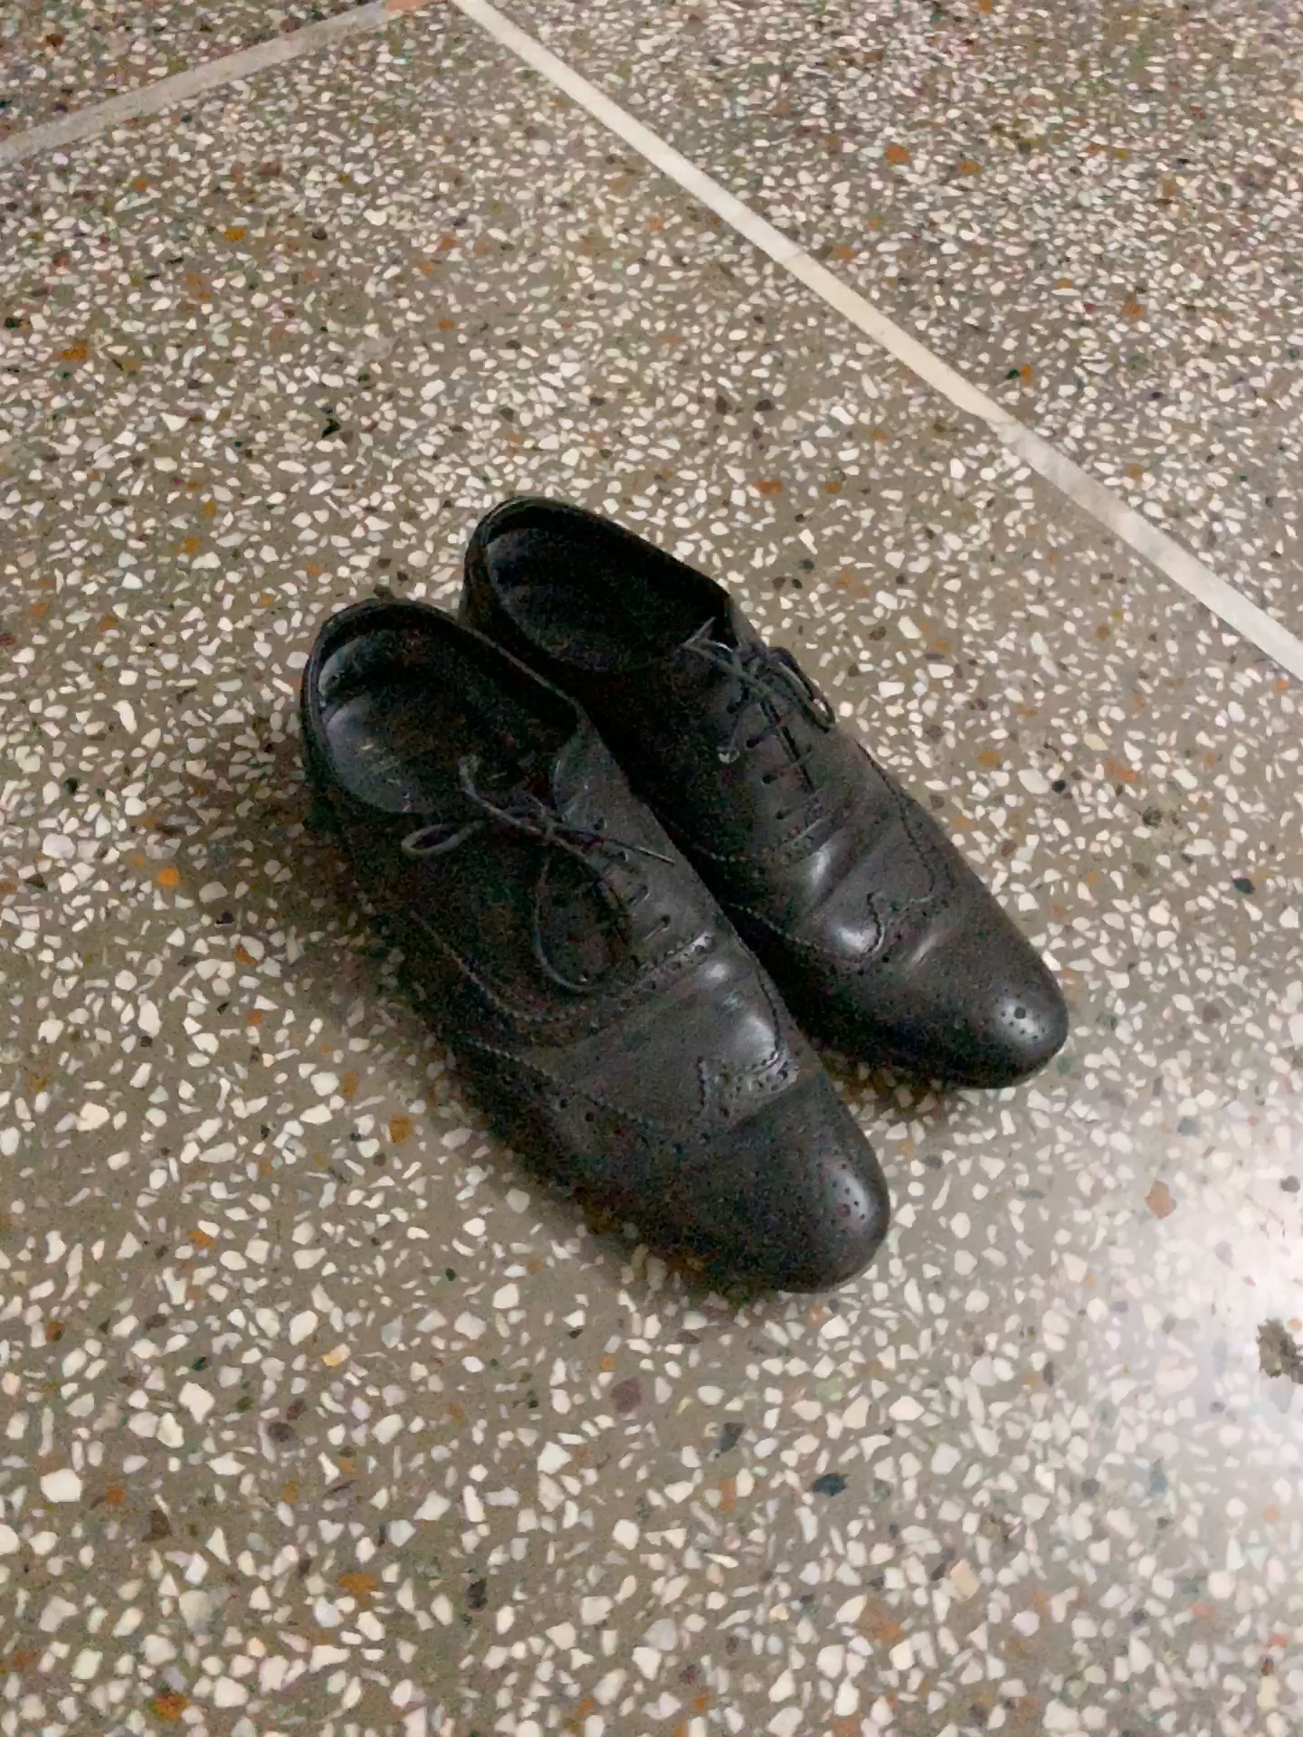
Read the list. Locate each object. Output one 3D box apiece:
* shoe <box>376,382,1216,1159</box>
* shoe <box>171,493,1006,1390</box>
[{"bbox_3d":[0.041,-0.043,0.531,0.320,0.100,0.100,41,66,14],"label":"shoe"},{"bbox_3d":[-0.035,0.020,0.490,0.100,0.100,0.320,-35,72,-21],"label":"shoe"}]
